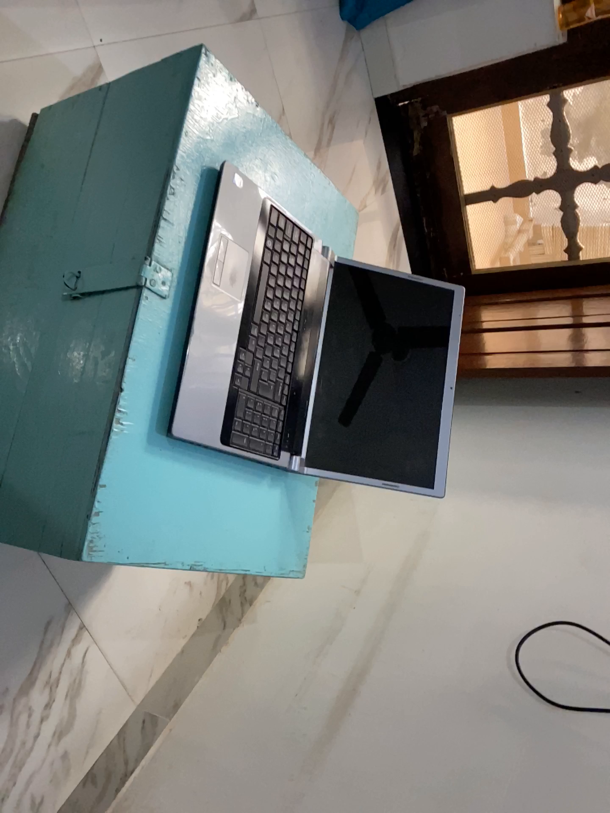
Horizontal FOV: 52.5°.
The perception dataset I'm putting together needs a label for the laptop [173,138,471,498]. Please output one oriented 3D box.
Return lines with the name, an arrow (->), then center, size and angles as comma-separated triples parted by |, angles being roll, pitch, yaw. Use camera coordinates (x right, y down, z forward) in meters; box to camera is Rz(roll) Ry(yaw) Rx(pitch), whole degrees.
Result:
laptop -> 0.071, -0.089, 0.966 | 0.481, 0.178, 0.389 | 24, 71, -53
